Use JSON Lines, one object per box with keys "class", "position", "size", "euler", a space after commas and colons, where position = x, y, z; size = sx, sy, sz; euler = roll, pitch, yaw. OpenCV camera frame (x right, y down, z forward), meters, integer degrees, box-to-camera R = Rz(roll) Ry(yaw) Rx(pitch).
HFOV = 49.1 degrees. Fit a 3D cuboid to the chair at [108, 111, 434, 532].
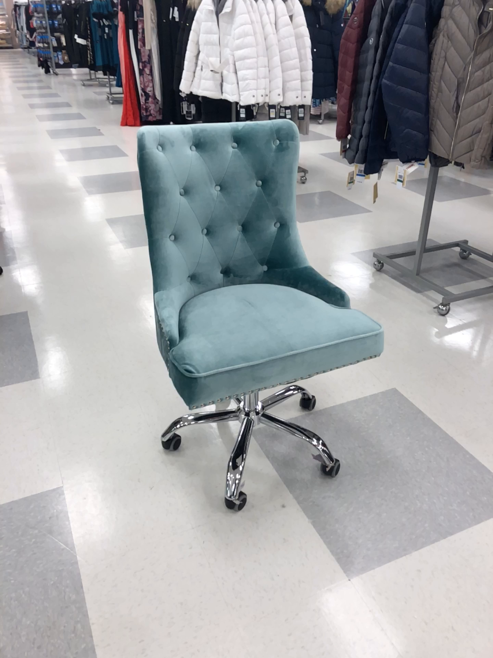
{"class": "chair", "position": [0.016, -0.067, 1.544], "size": [0.598, 0.934, 0.607], "euler": [-12, 31, -20]}
